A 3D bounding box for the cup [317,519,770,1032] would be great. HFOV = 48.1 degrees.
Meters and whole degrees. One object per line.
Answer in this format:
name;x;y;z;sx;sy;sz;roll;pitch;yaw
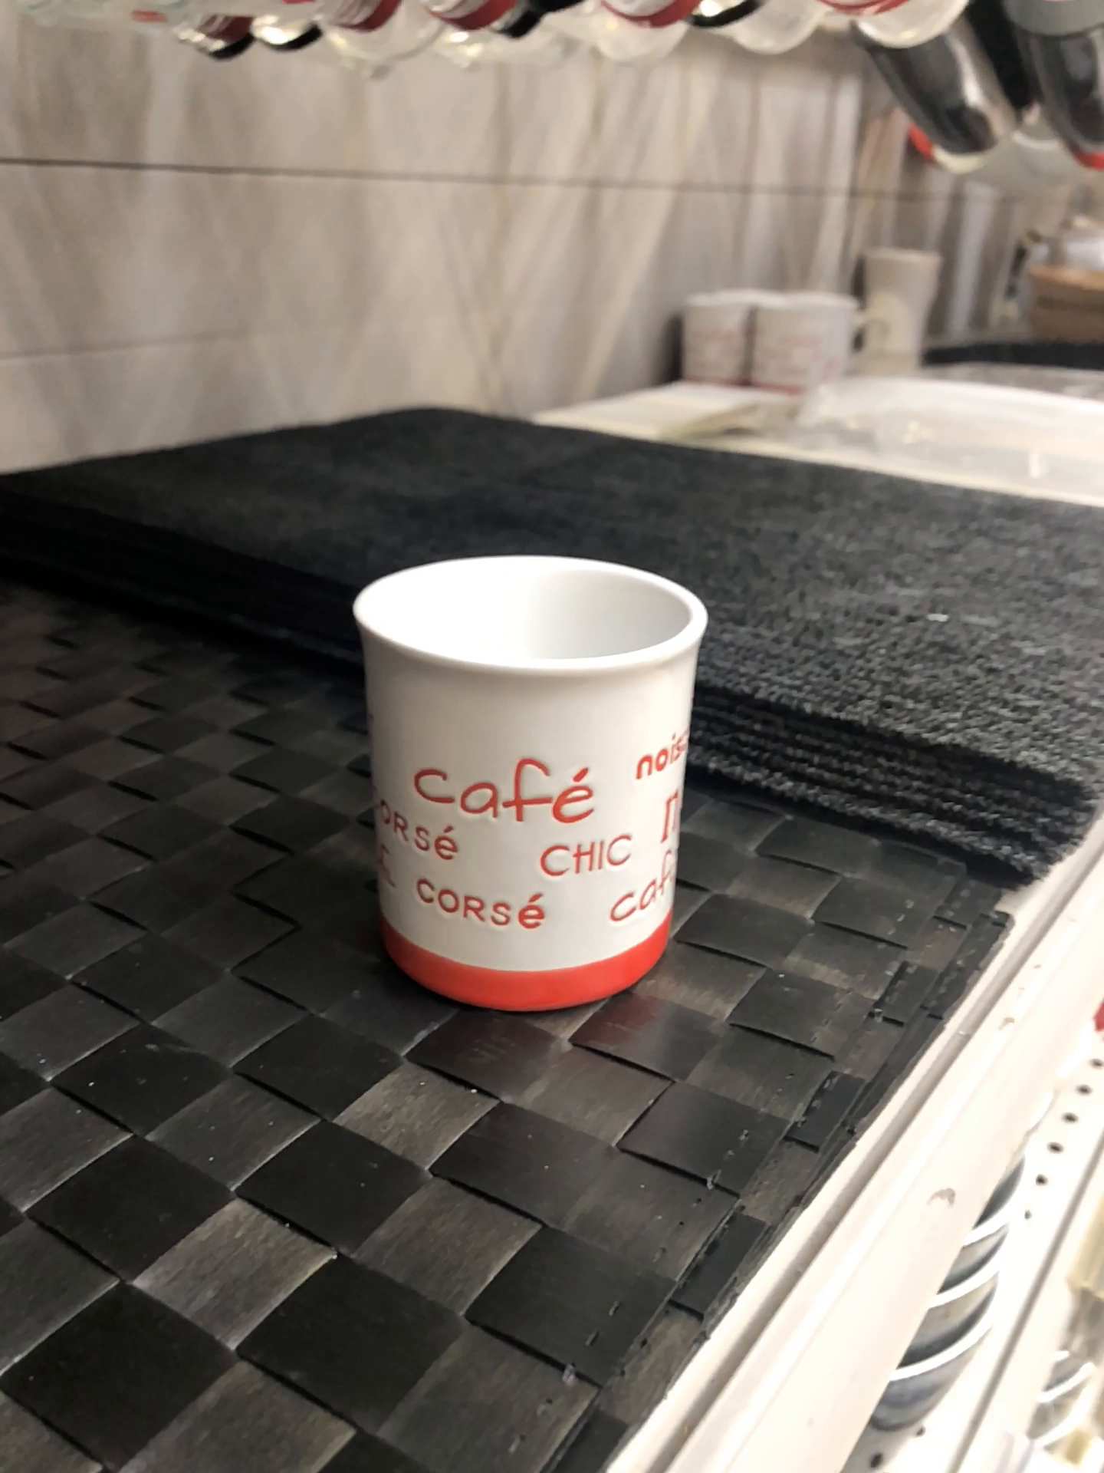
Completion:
cup;-0.009;0.000;0.251;0.067;0.064;0.097;-4;24;-13
